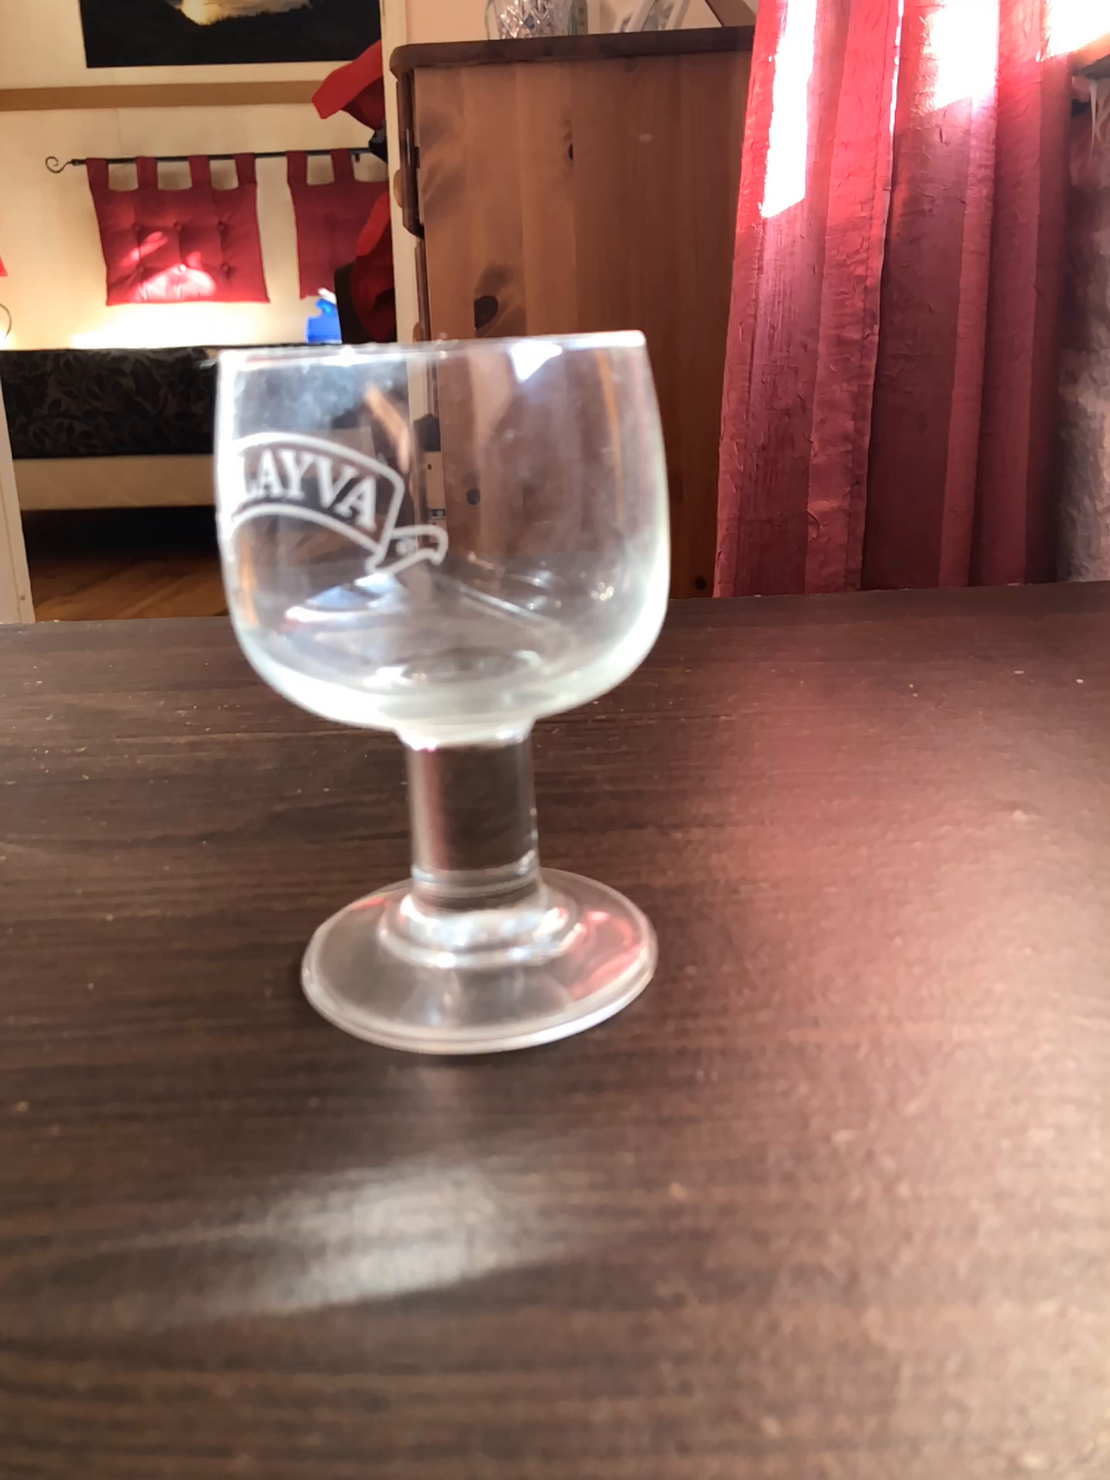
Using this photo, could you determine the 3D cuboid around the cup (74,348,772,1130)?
[{"bbox_3d":[-0.017,-0.012,0.214,0.077,0.107,0.086,10,20,32],"label":"cup"}]
